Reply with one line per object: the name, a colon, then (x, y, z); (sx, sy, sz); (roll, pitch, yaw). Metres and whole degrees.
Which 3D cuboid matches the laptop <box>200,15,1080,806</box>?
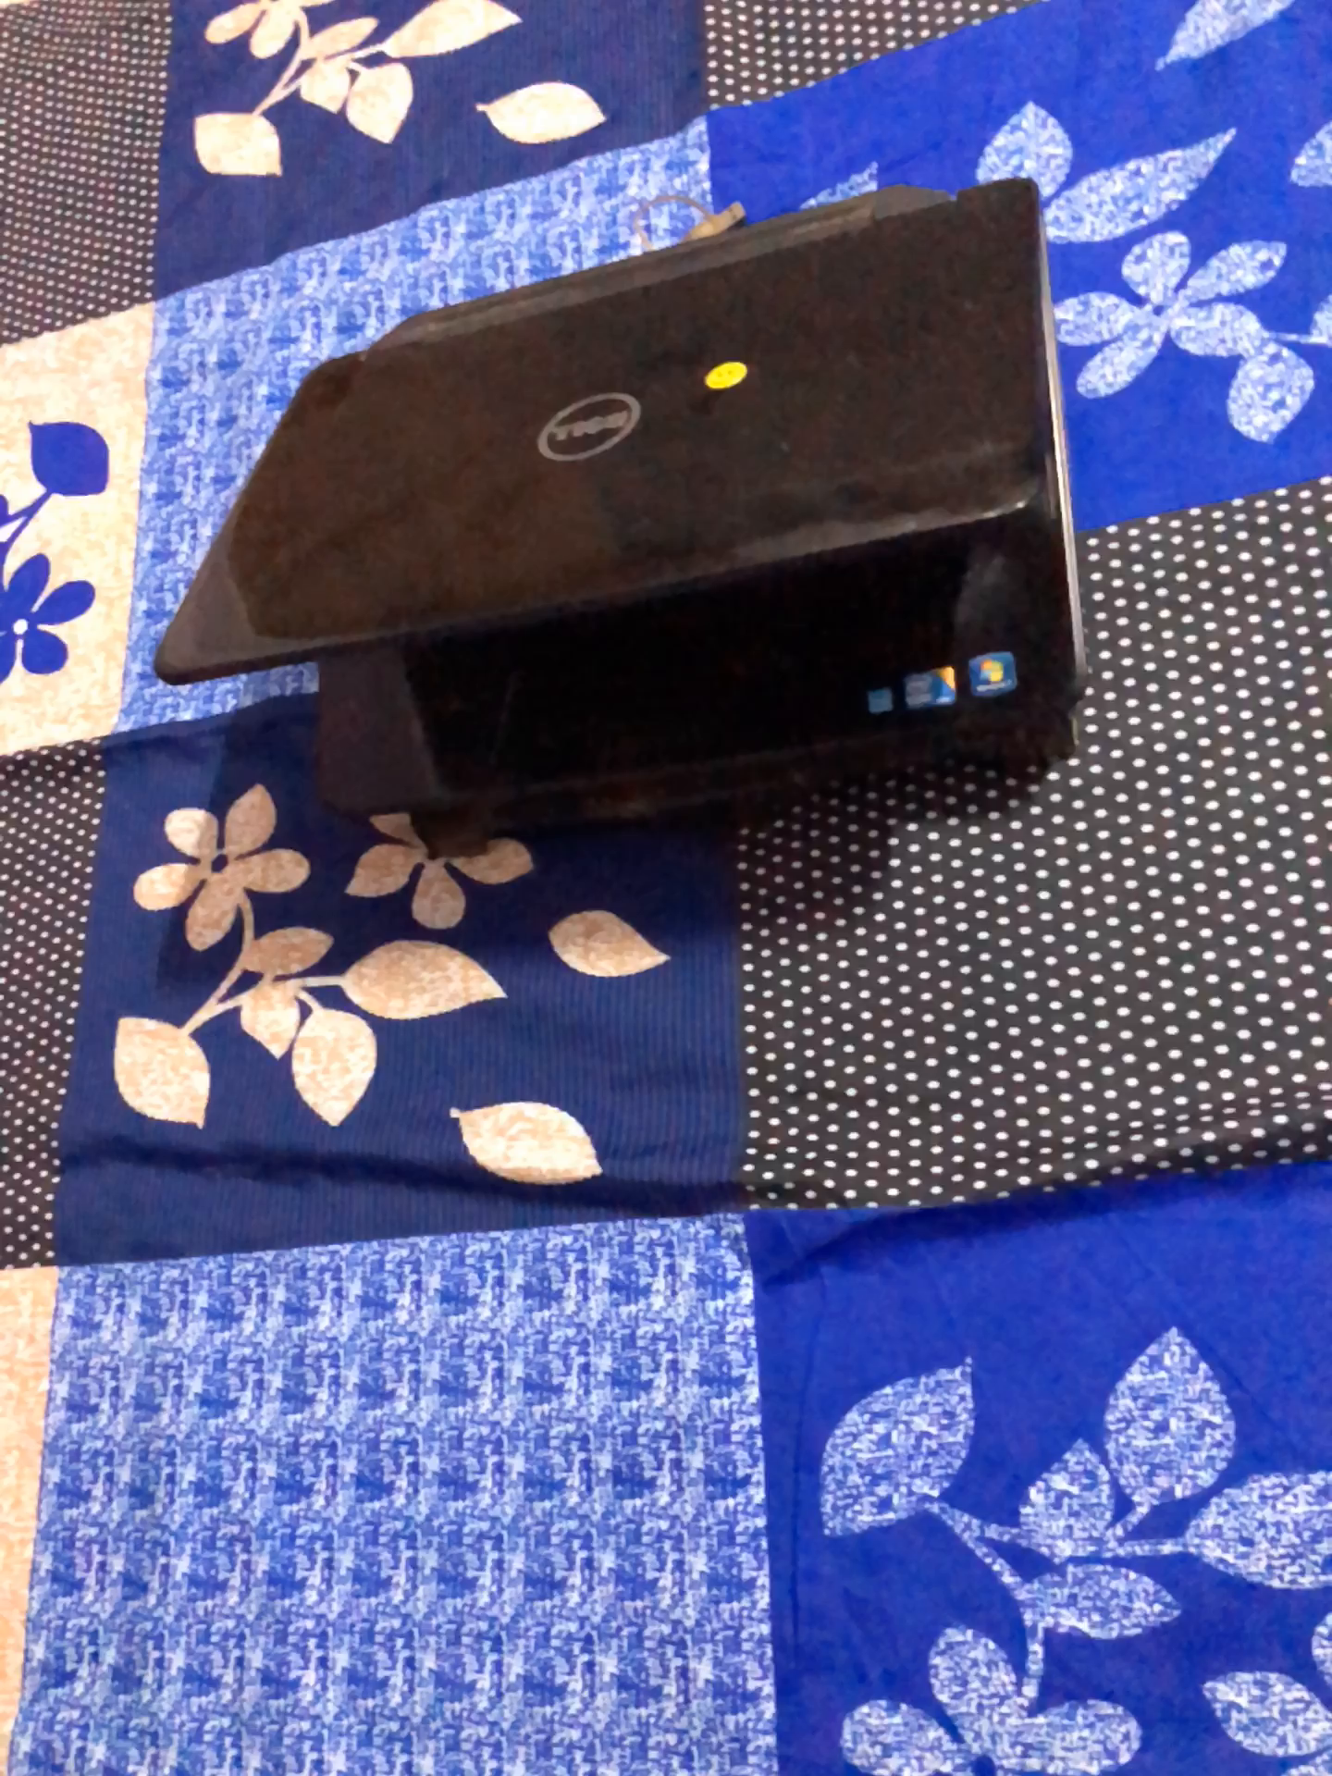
laptop: (-0.022, -0.187, 0.640); (0.362, 0.093, 0.236); (-6, 77, 20)
